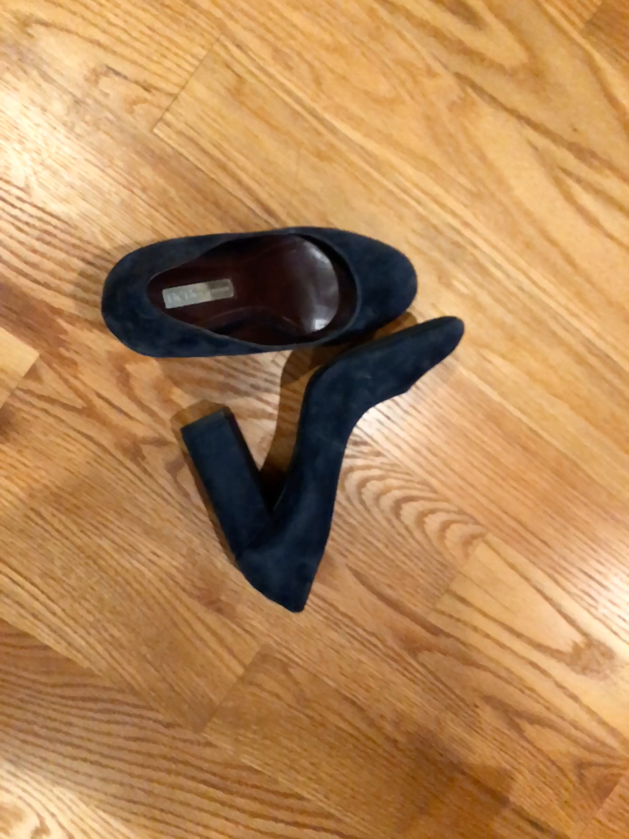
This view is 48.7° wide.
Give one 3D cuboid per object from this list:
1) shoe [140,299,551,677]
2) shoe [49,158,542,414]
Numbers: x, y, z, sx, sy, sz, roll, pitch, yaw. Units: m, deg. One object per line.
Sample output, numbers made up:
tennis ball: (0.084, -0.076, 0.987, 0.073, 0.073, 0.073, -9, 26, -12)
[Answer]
shoe: (0.019, 0.037, 0.451, 0.204, 0.080, 0.152, -26, 100, -6)
shoe: (-0.013, -0.074, 0.403, 0.226, 0.147, 0.080, -13, 98, -8)
